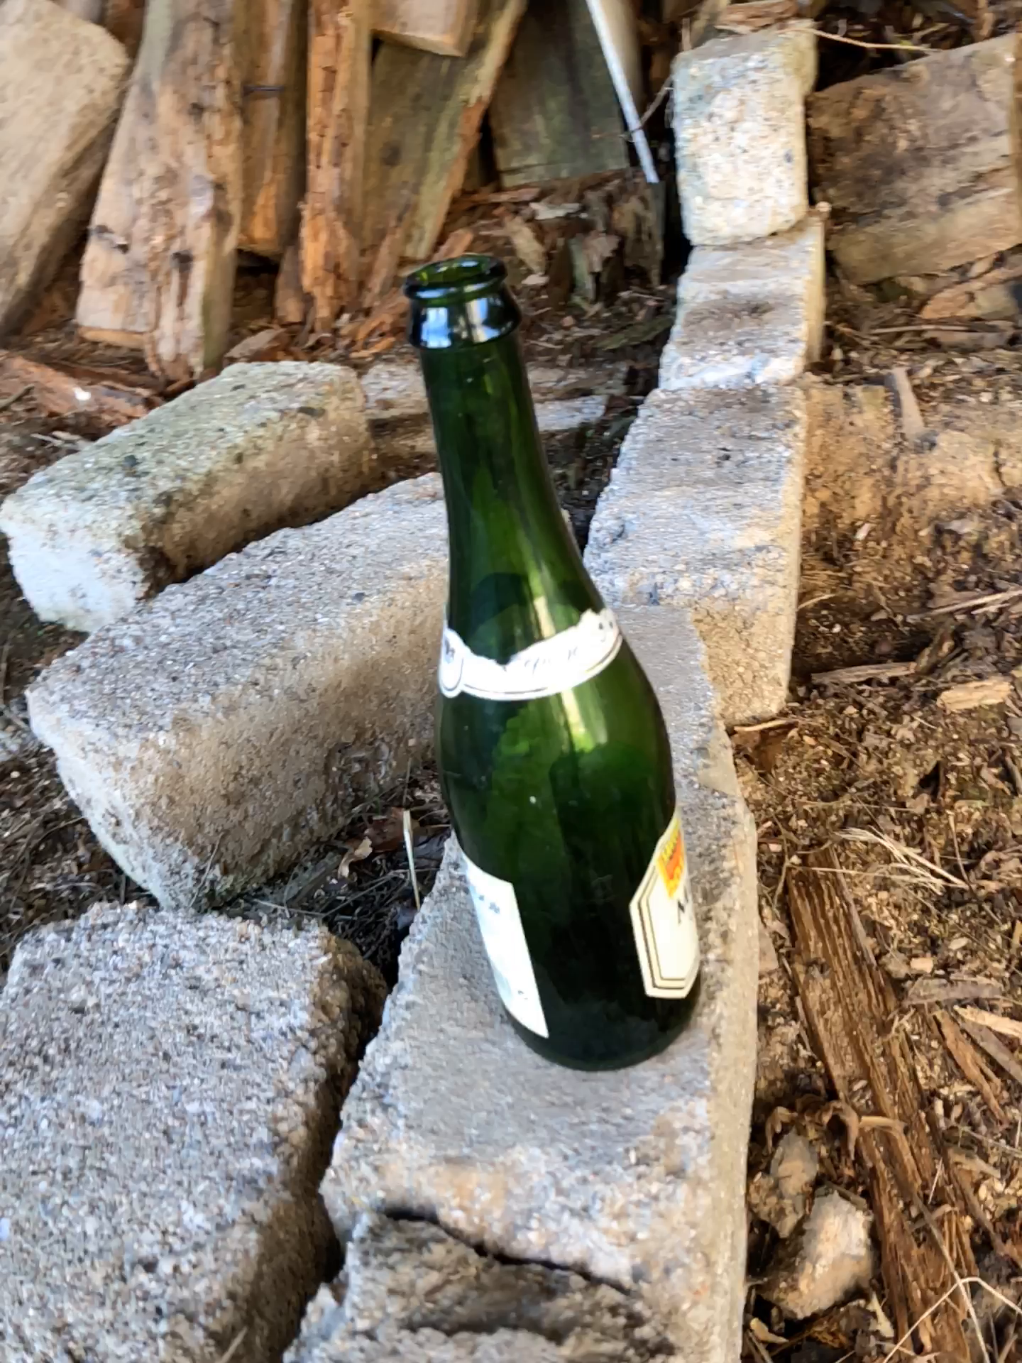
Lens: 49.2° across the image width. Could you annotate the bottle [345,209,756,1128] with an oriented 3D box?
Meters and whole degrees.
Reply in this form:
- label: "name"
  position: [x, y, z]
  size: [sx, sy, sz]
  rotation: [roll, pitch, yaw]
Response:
- label: "bottle"
  position: [0.020, 0.011, 0.372]
  size: [0.090, 0.288, 0.090]
  rotation: [-7, 32, 4]
